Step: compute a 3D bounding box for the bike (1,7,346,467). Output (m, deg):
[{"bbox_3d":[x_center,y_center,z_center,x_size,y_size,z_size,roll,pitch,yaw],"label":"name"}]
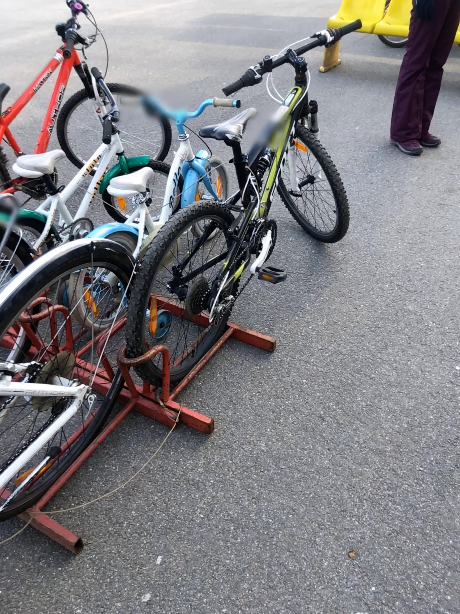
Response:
[{"bbox_3d":[-0.014,-0.399,1.735,0.528,0.901,1.380,11,40,17],"label":"bike"}]
